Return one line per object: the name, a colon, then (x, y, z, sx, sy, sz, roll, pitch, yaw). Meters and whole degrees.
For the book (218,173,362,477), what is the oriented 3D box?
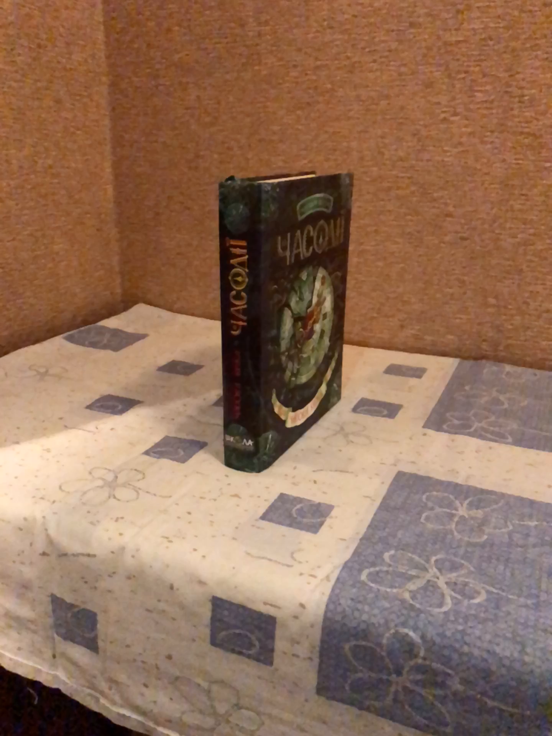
book: (0.017, -0.048, 0.505, 0.040, 0.216, 0.173, 10, 20, 26)
